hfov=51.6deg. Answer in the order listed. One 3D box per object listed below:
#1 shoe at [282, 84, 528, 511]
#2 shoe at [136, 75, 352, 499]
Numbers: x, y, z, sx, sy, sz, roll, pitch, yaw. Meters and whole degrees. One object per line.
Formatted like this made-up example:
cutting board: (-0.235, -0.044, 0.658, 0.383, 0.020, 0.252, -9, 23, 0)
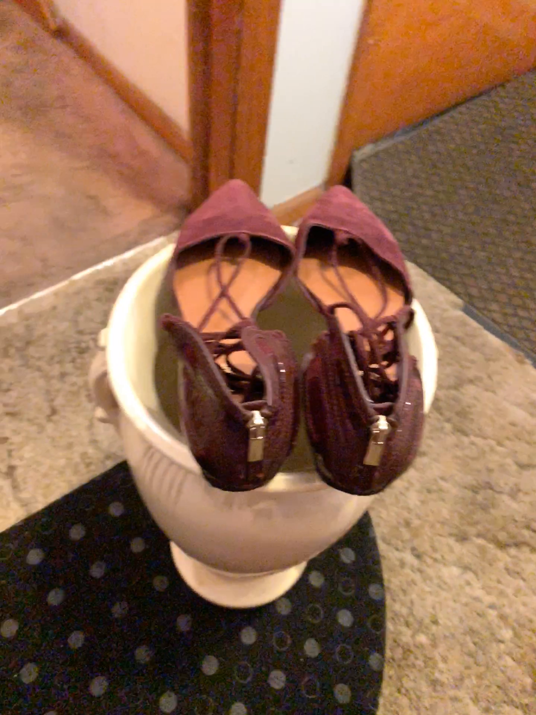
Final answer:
shoe: (0.062, -0.049, 0.352, 0.092, 0.099, 0.262, 4, 55, -5)
shoe: (-0.020, -0.055, 0.350, 0.092, 0.099, 0.262, 1, 56, -6)
